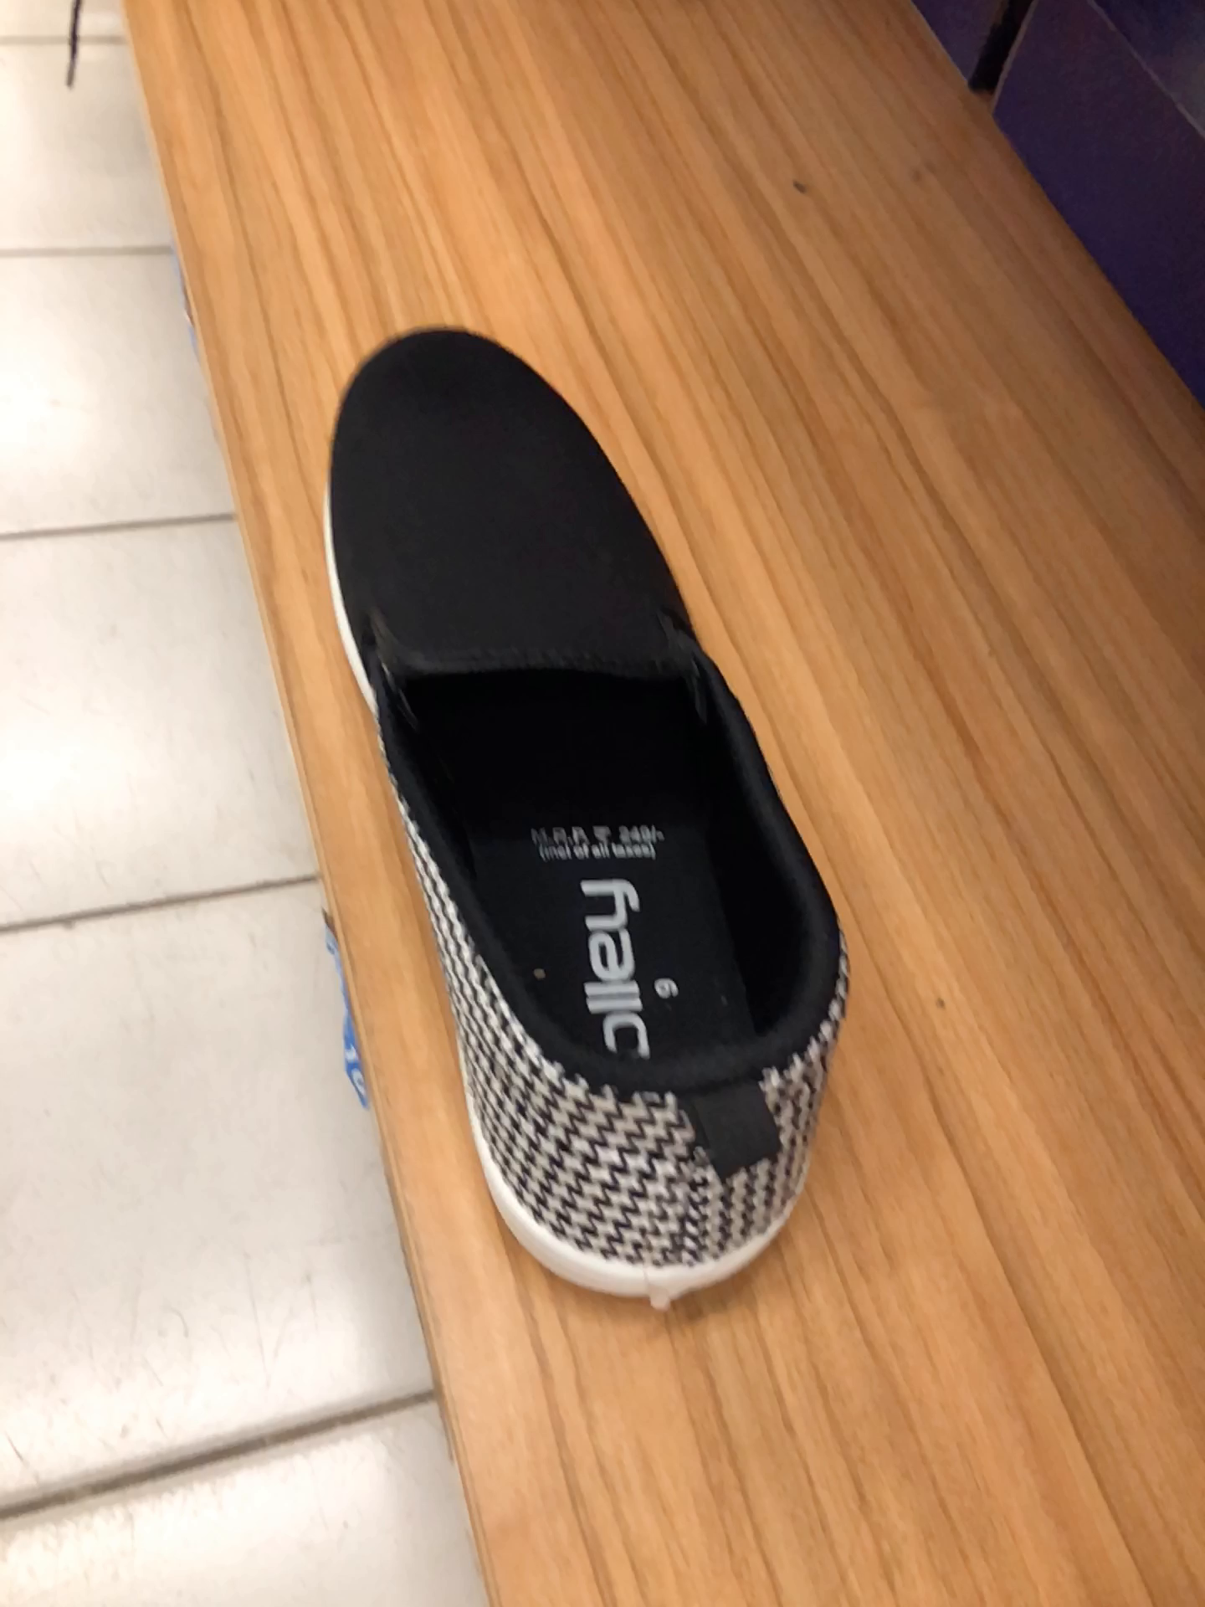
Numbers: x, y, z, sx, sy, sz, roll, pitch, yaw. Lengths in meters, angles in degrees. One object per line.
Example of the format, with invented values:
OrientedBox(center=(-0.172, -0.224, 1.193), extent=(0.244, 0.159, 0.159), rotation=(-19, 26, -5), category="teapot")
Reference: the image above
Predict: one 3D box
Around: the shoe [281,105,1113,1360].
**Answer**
OrientedBox(center=(-0.005, -0.038, 0.320), extent=(0.100, 0.090, 0.291), rotation=(-8, 60, -16), category="shoe")
